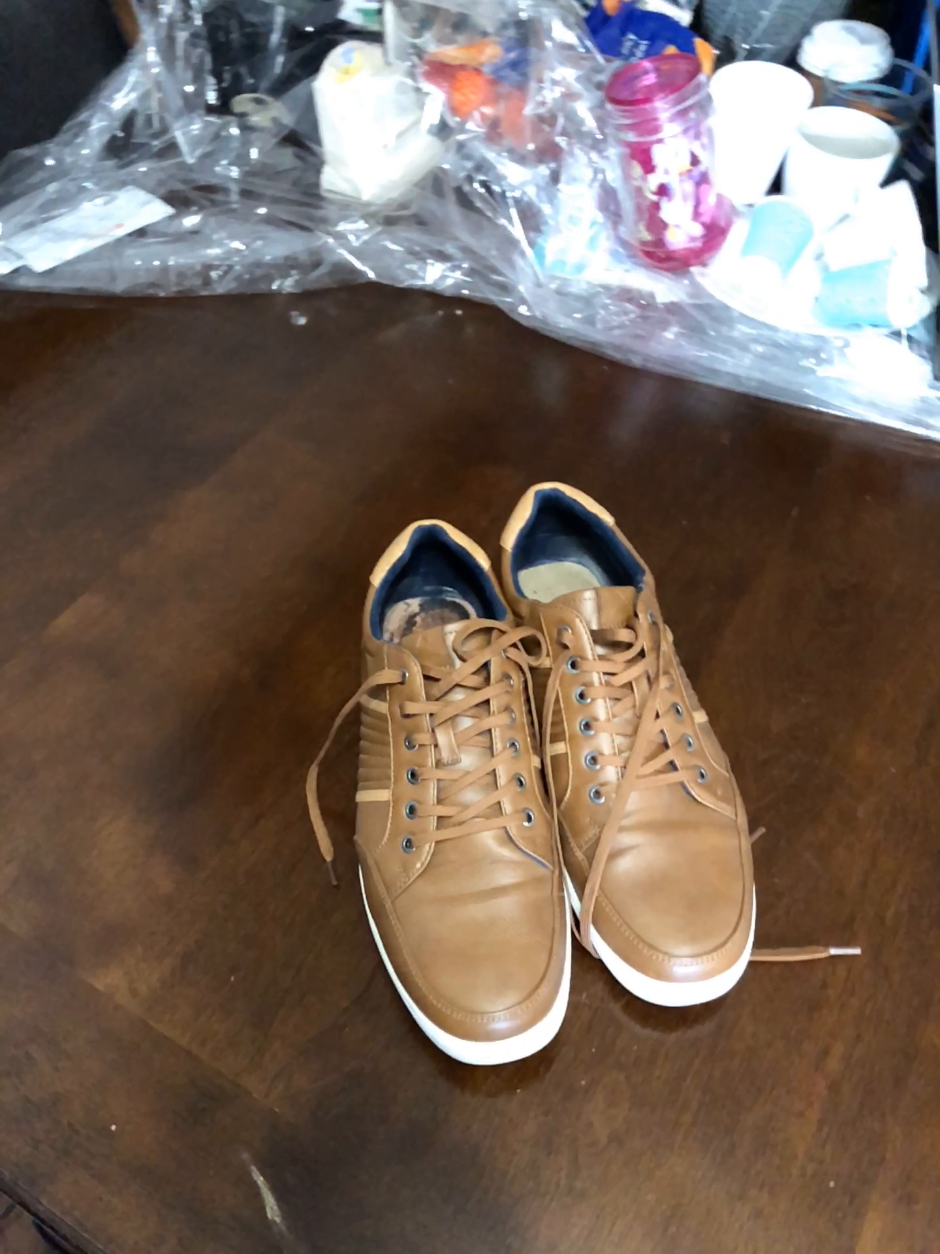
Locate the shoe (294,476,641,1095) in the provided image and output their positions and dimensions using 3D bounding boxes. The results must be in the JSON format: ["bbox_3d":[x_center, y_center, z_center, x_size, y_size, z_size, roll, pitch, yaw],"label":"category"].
[{"bbox_3d":[-0.015,0.059,0.518,0.110,0.080,0.291,-9,51,-6],"label":"shoe"}]

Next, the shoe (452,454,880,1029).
[{"bbox_3d":[0.082,0.042,0.552,0.110,0.080,0.291,-13,51,-9],"label":"shoe"}]
